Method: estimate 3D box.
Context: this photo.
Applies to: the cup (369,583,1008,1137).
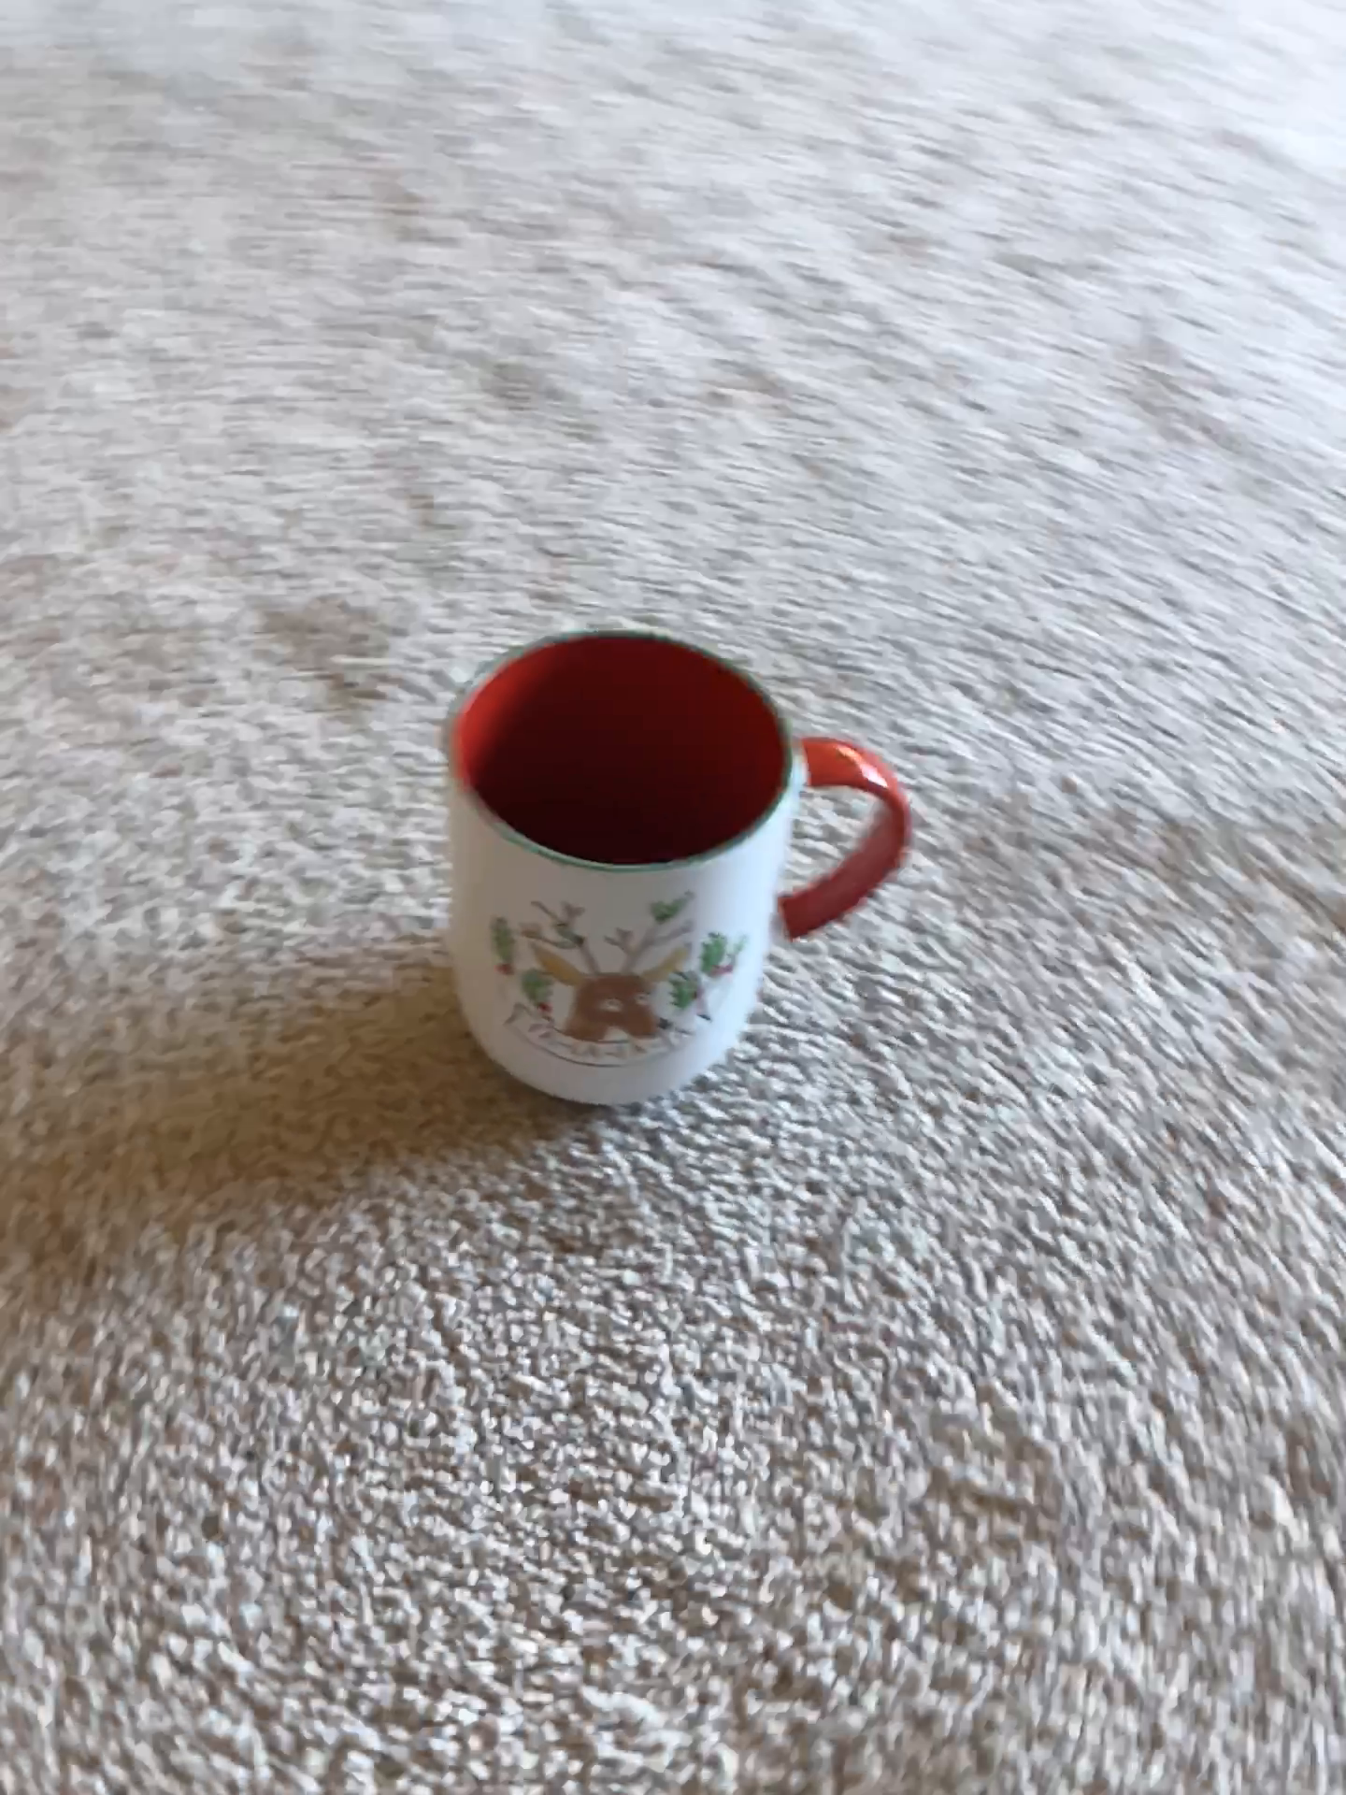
[{"bbox_3d":[-0.003,-0.012,0.400,0.140,0.090,0.100,-6,48,-10],"label":"cup"}]
